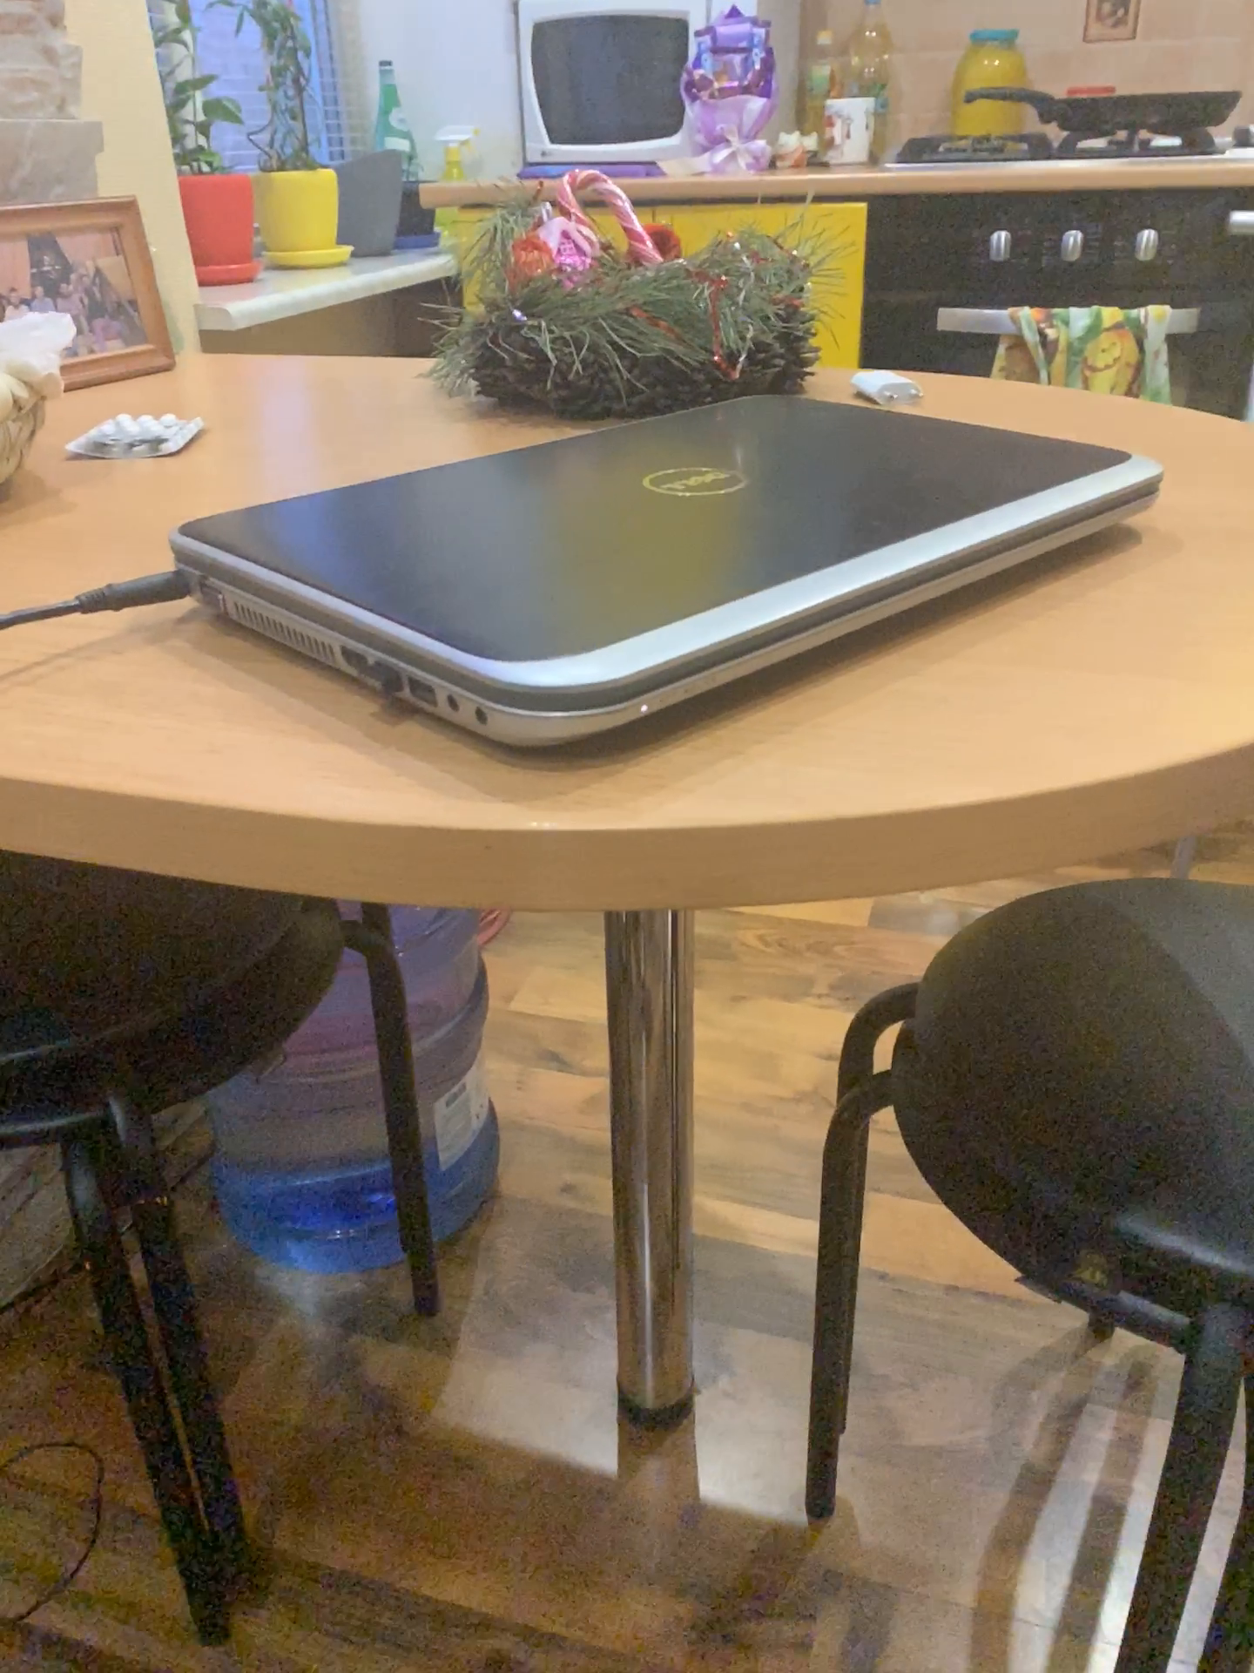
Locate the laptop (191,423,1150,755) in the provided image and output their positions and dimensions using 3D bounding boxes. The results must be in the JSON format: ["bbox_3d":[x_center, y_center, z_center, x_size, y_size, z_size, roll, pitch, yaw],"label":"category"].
[{"bbox_3d":[0.030,-0.128,0.548,0.350,0.004,0.225,-25,39,-35],"label":"laptop"}]
